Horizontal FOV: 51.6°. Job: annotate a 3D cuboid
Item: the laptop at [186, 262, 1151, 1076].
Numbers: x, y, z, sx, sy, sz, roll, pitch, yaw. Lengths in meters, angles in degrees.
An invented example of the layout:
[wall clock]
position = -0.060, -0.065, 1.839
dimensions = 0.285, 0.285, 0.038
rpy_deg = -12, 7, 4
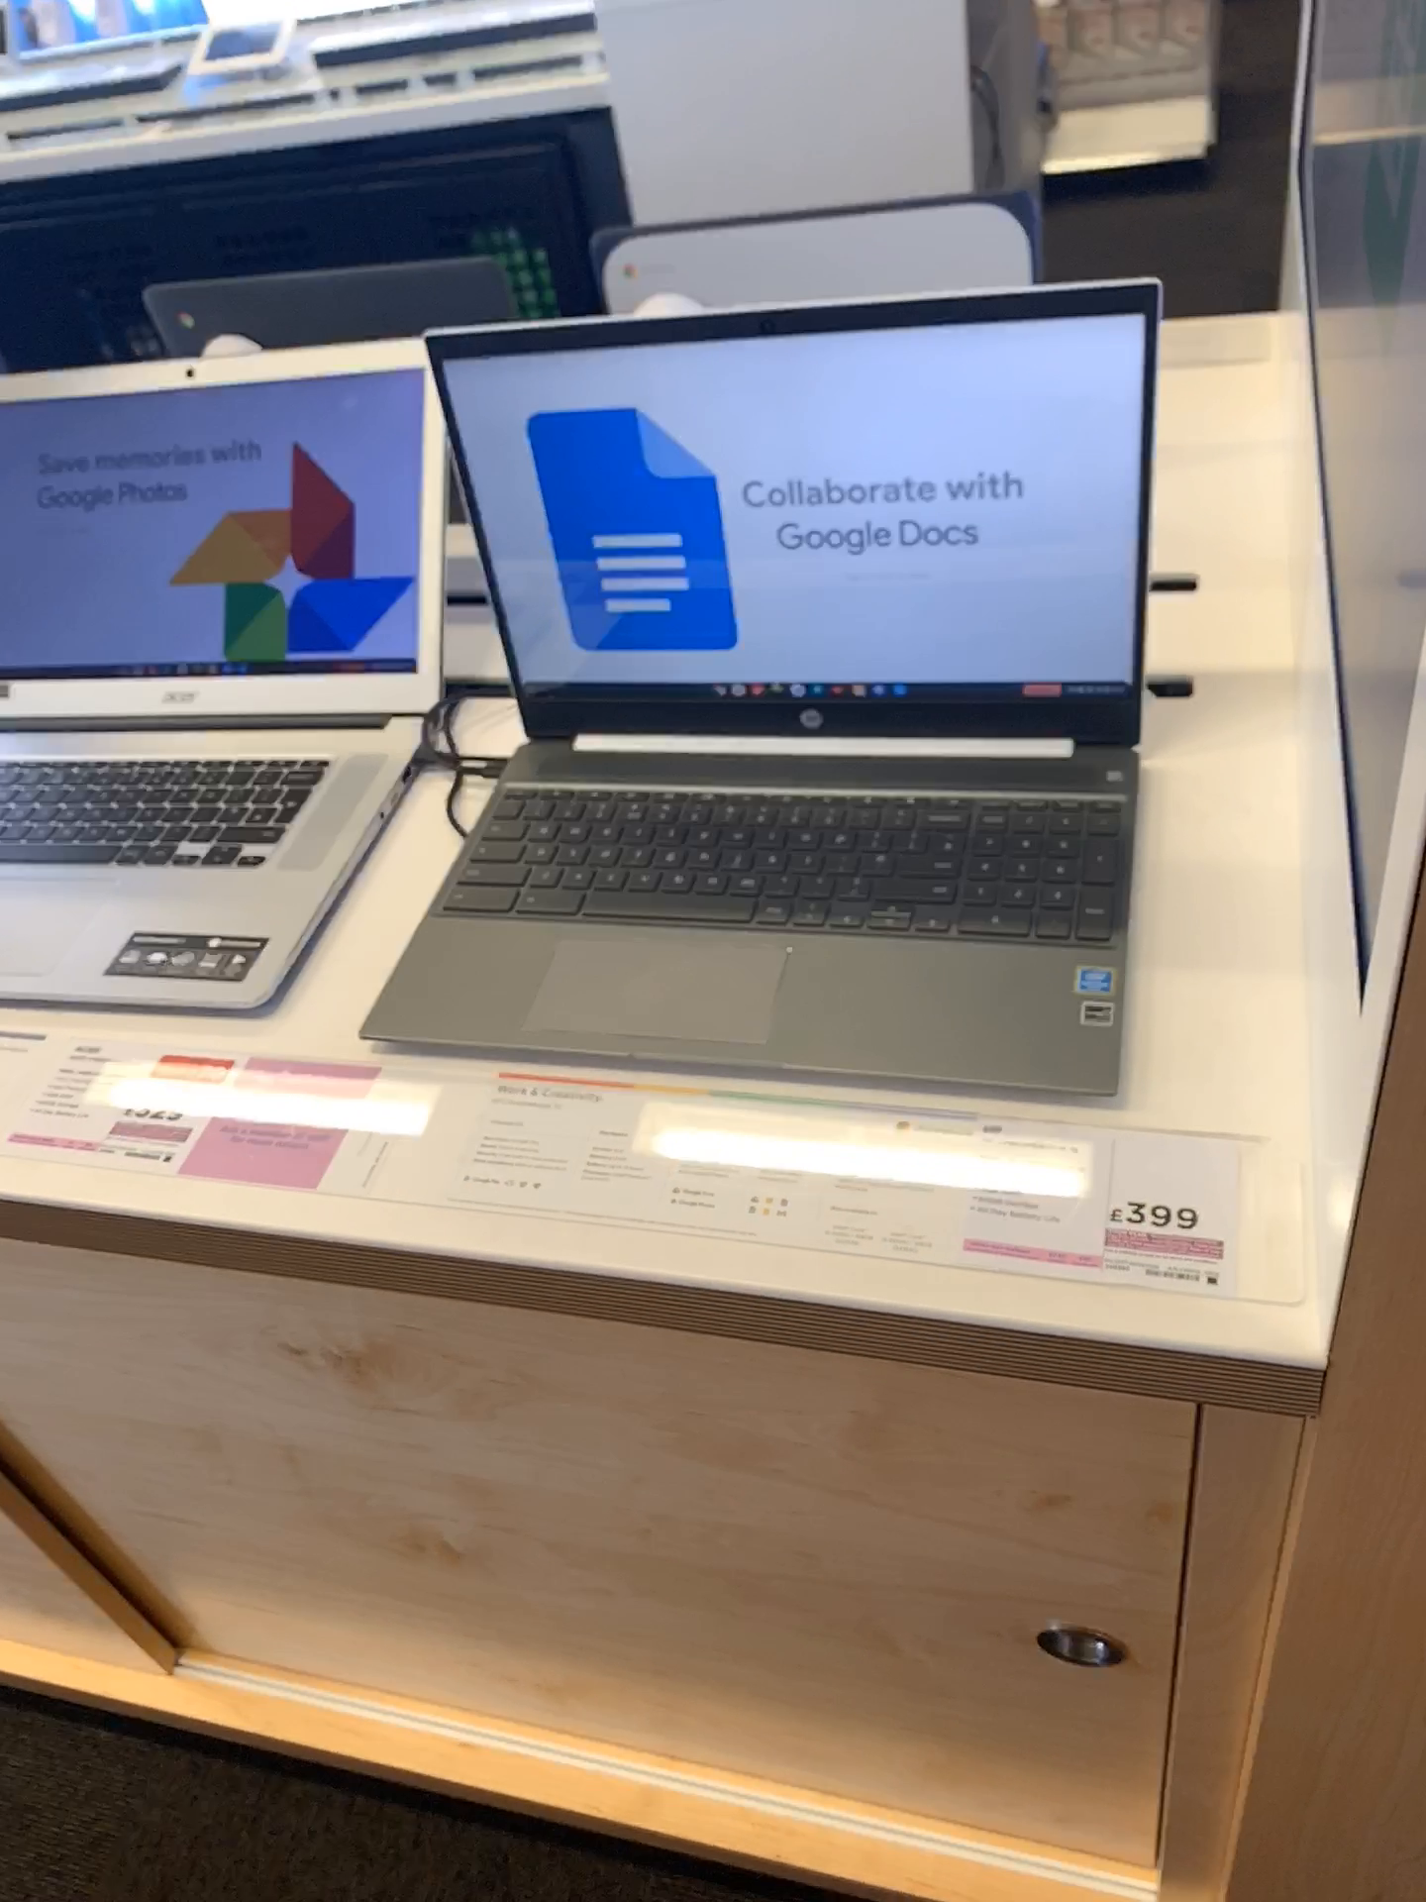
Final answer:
[laptop]
position = 0.013, -0.133, 0.681
dimensions = 0.351, 0.228, 0.265
rpy_deg = 3, 44, 17
